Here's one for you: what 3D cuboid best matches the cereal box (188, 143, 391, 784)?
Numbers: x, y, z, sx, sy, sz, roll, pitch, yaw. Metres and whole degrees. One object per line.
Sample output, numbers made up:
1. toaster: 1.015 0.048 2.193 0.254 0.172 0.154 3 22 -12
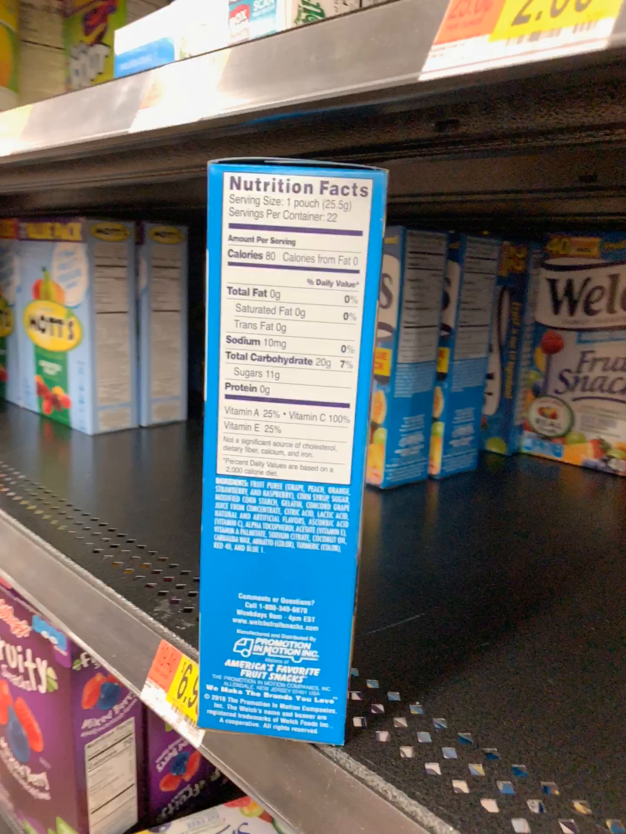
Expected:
1. cereal box: -0.007 0.009 0.311 0.060 0.229 0.170 4 12 3
